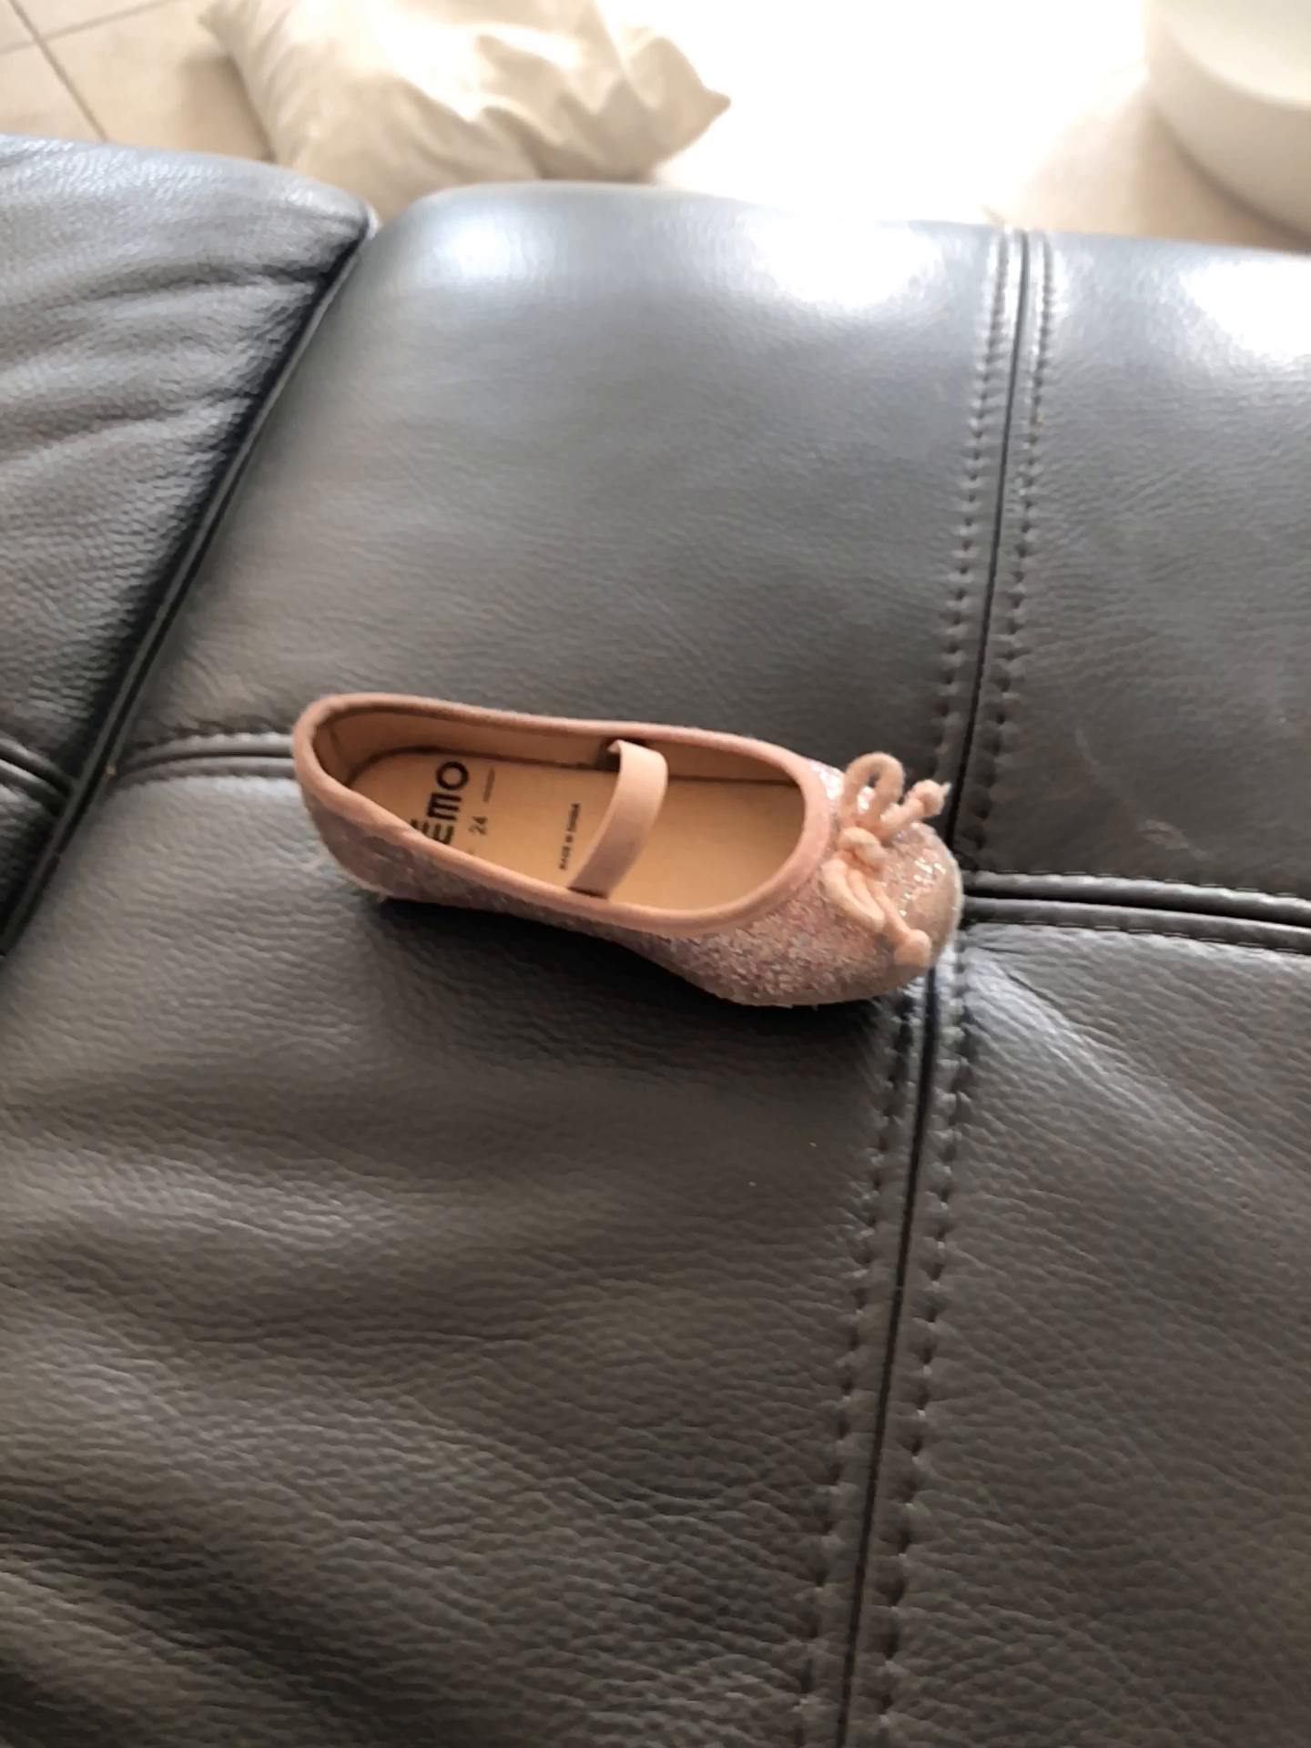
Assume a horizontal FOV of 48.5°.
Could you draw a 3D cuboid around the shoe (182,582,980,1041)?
[{"bbox_3d":[-0.013,-0.016,0.330,0.160,0.040,0.070,9,59,7],"label":"shoe"}]
